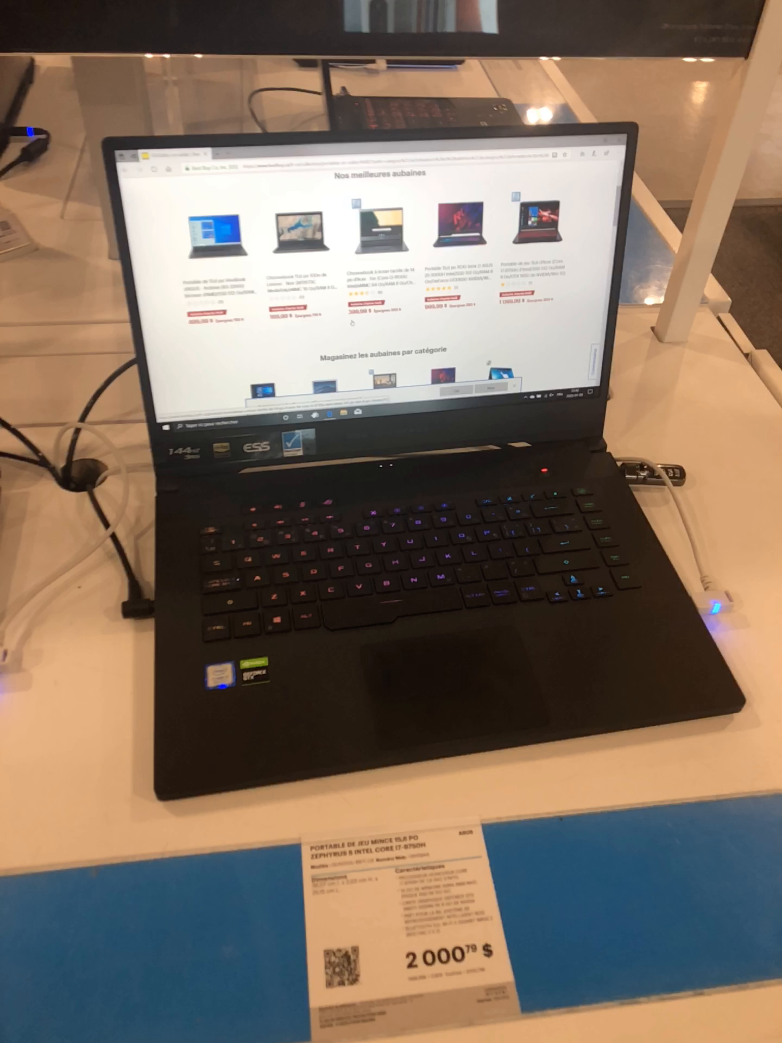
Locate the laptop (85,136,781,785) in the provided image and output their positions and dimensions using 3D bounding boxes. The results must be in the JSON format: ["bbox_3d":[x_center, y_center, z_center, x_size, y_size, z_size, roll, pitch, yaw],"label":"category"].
[{"bbox_3d":[0.024,-0.060,0.519,0.340,0.207,0.316,-6,46,-8],"label":"laptop"}]
